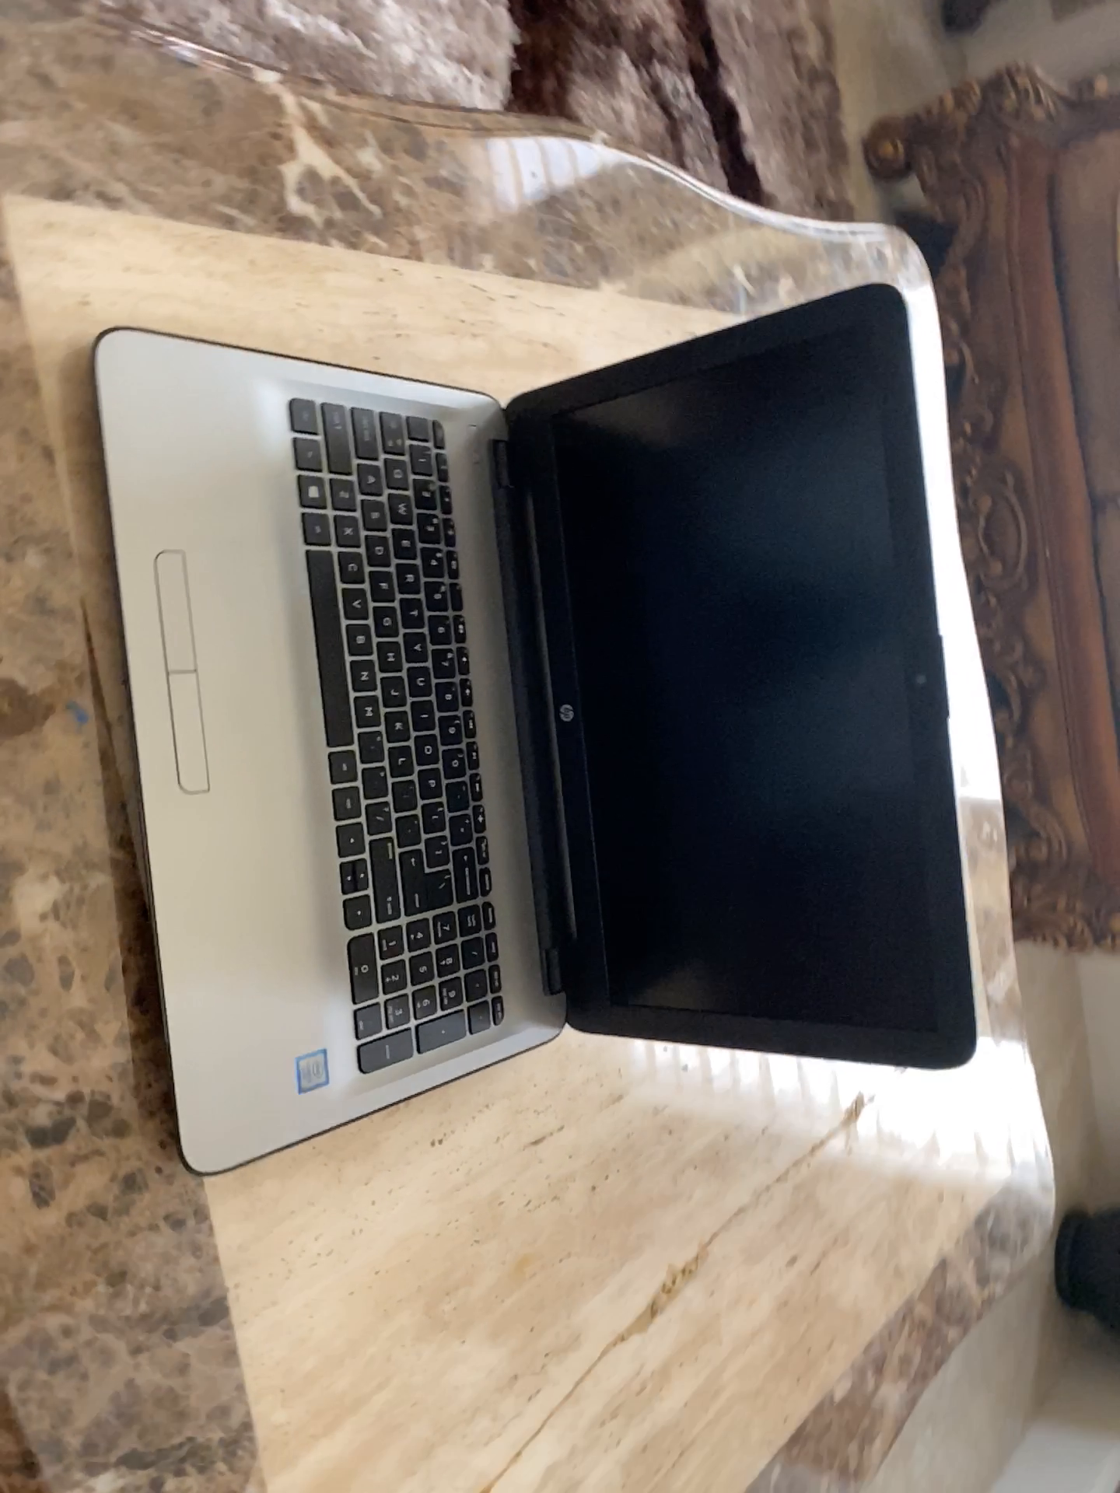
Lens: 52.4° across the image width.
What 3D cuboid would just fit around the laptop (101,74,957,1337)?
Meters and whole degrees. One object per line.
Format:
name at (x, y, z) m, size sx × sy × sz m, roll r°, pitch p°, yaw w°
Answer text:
laptop at (-0.004, -0.012, 0.515) m, size 0.266 × 0.240 × 0.371 m, roll -8°, pitch 92°, yaw -49°
